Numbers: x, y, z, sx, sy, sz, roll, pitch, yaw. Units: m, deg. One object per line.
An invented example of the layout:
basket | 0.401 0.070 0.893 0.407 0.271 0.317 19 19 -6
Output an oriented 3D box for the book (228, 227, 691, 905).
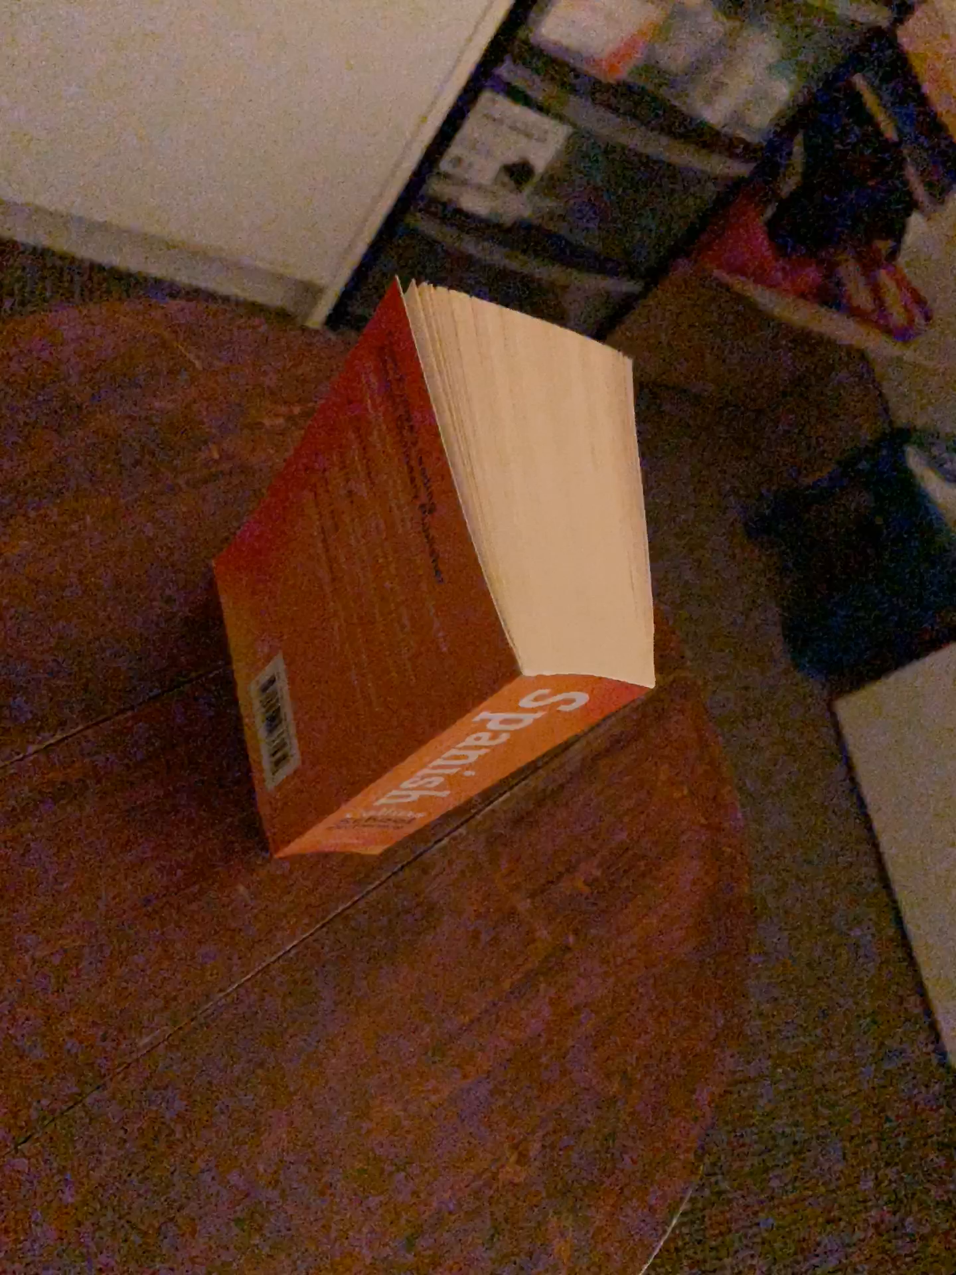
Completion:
book | -0.017 -0.006 0.300 0.080 0.149 0.141 9 63 -19
